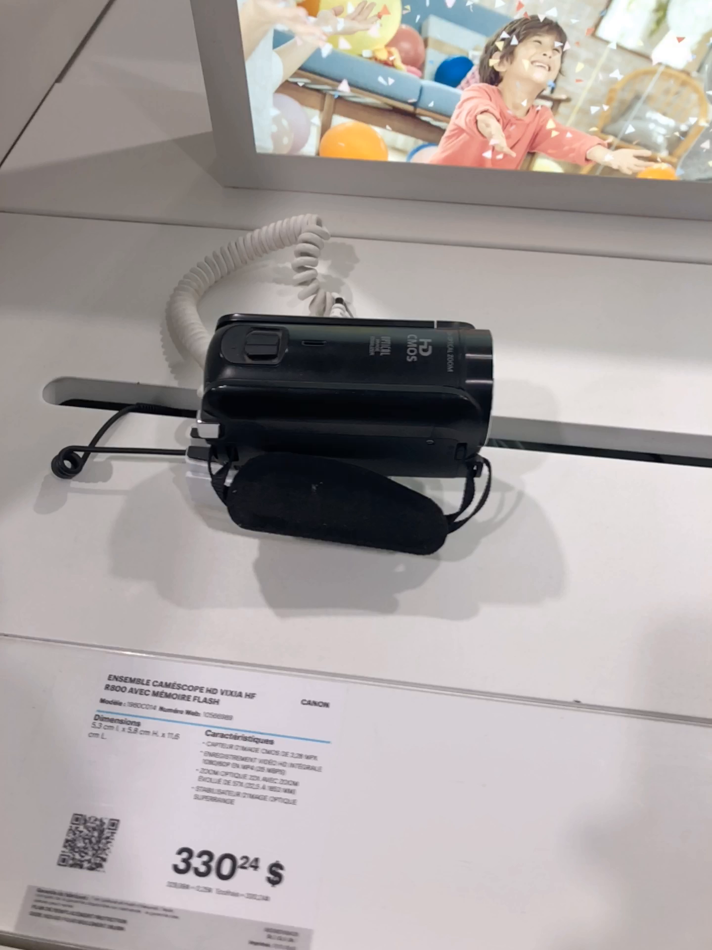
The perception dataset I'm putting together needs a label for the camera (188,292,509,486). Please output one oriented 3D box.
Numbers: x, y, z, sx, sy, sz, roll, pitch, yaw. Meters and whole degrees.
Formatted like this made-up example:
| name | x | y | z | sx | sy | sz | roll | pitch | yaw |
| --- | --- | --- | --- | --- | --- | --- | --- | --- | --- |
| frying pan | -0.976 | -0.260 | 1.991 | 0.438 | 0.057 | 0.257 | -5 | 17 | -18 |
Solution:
| name | x | y | z | sx | sy | sz | roll | pitch | yaw |
| --- | --- | --- | --- | --- | --- | --- | --- | --- | --- |
| camera | -0.001 | -0.034 | 0.311 | 0.113 | 0.050 | 0.050 | 3 | 54 | 3 |
